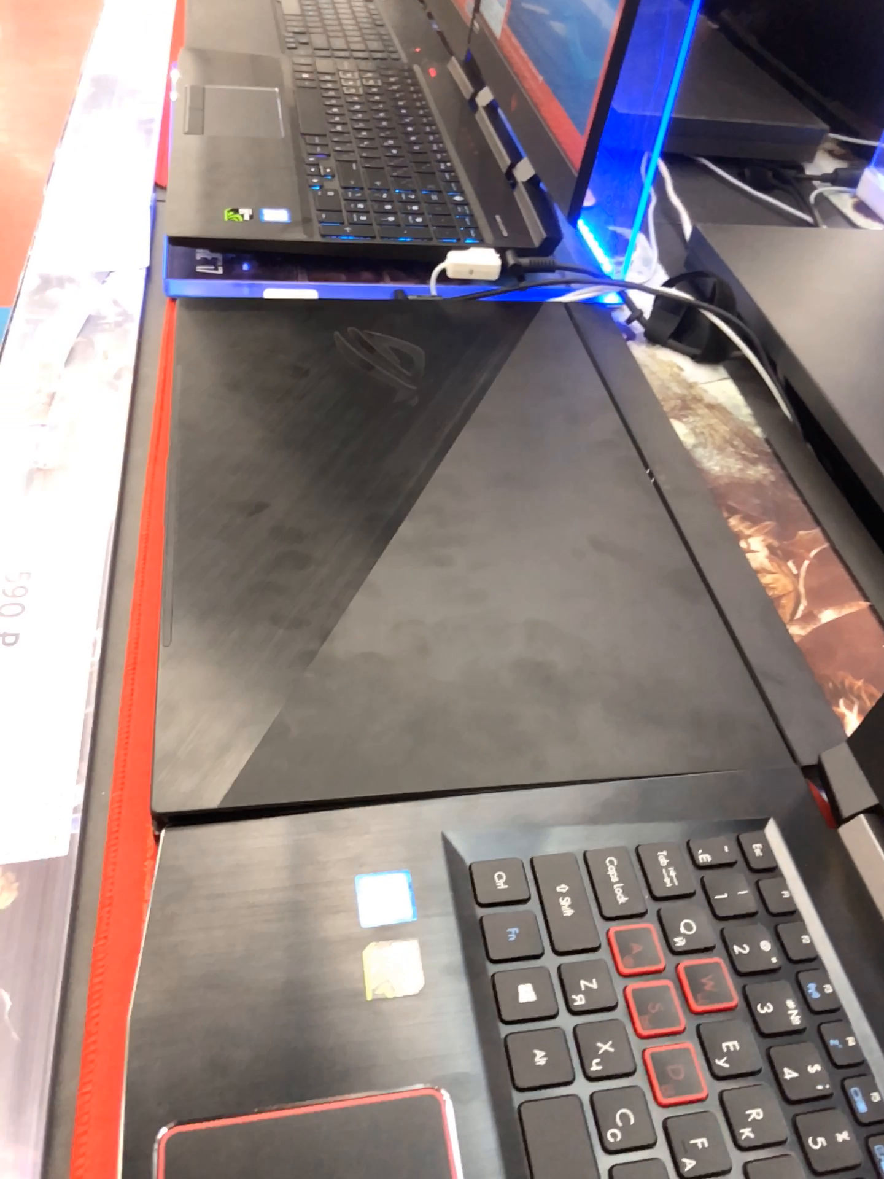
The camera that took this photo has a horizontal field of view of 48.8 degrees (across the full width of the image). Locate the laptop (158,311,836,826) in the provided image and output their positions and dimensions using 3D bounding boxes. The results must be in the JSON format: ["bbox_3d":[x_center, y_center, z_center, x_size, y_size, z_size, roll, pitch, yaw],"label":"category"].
[{"bbox_3d":[0.001,-0.046,0.480,0.254,0.006,0.349,-2,45,-10],"label":"laptop"}]
